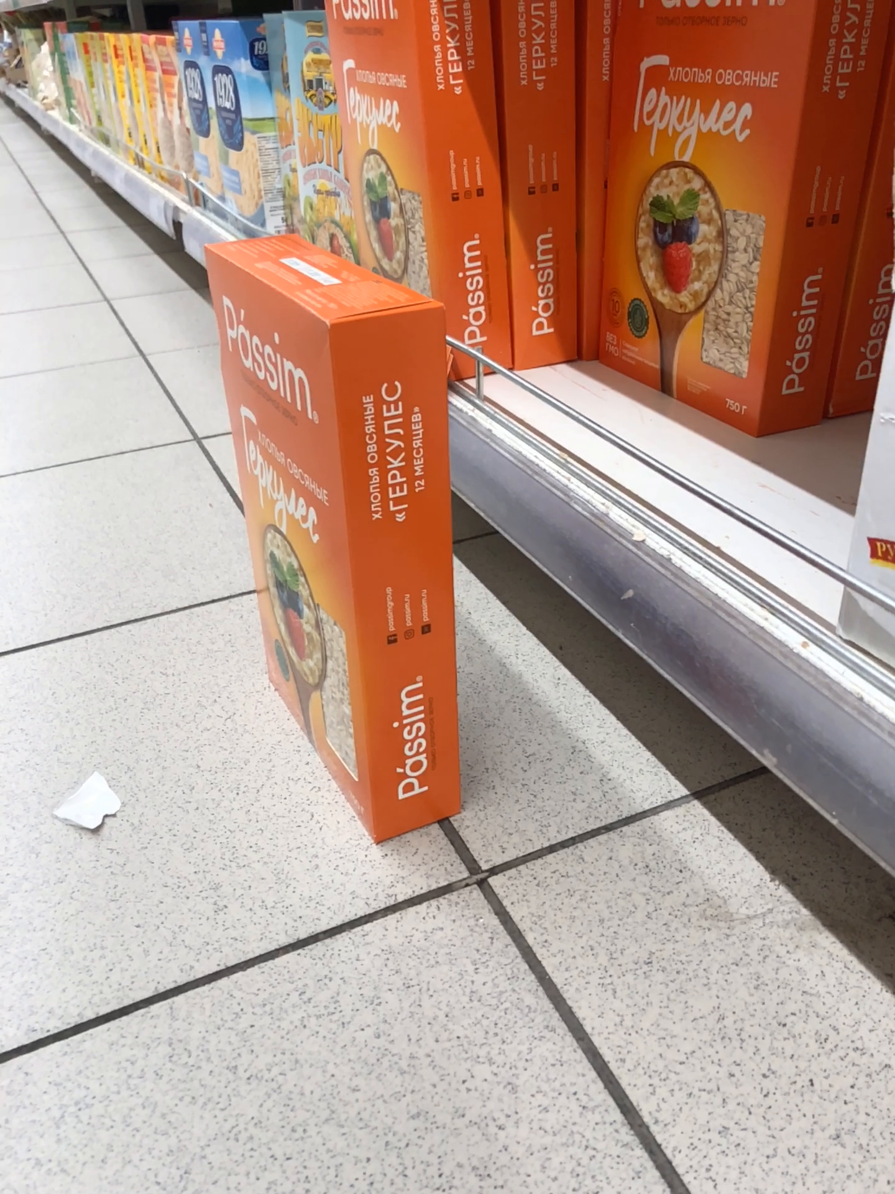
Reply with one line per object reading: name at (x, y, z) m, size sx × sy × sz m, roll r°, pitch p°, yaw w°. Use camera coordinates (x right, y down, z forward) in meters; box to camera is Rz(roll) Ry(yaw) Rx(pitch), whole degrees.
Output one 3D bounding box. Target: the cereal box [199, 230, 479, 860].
cereal box at (-0.051, -0.029, 0.471) m, size 0.050 × 0.249 × 0.171 m, roll -16°, pitch 33°, yaw -22°
